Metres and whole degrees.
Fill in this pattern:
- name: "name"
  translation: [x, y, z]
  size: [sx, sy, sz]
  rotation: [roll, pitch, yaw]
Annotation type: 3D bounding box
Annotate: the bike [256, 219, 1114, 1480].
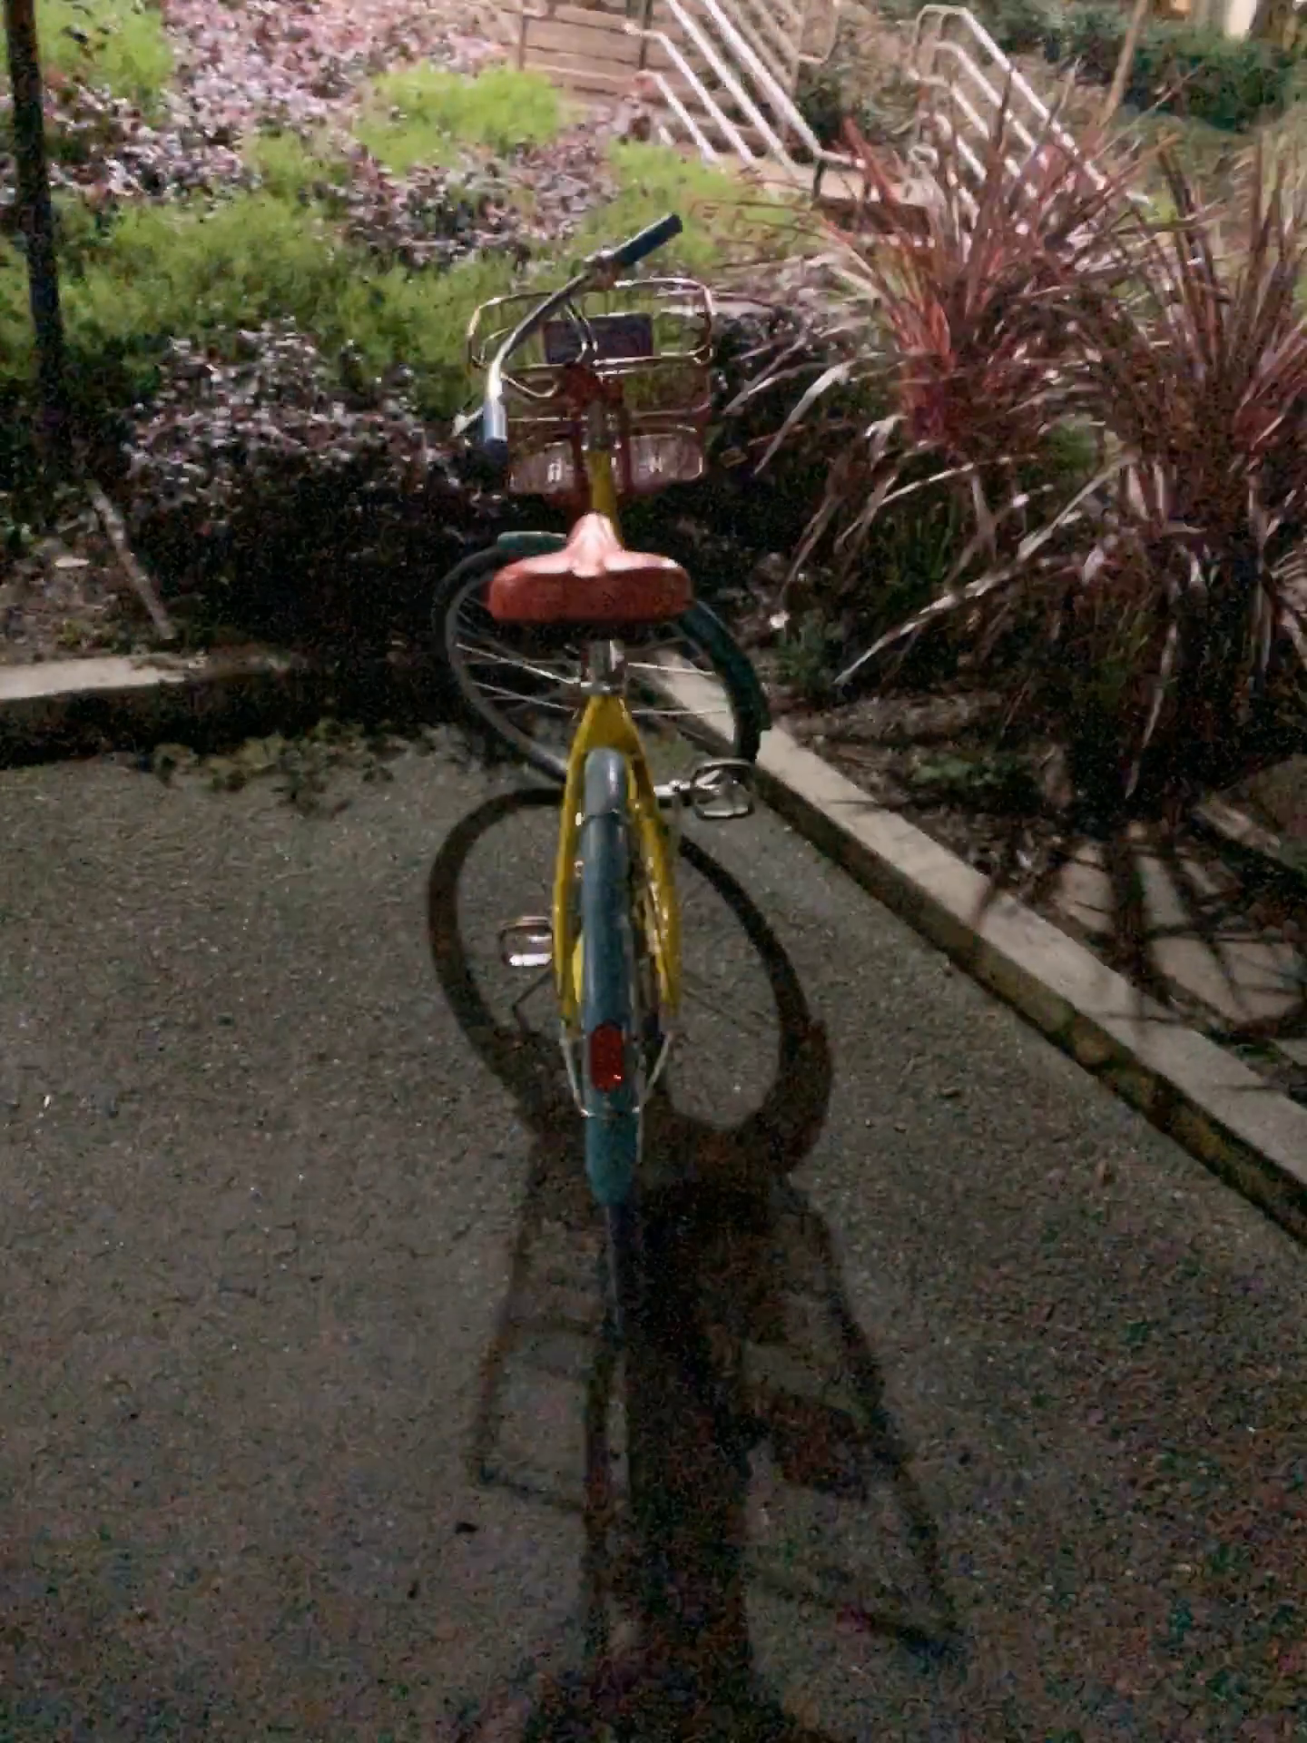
- name: "bike"
  translation: [-0.187, -0.220, 1.854]
  size: [0.599, 1.086, 1.591]
  rotation: [1, 29, -14]
